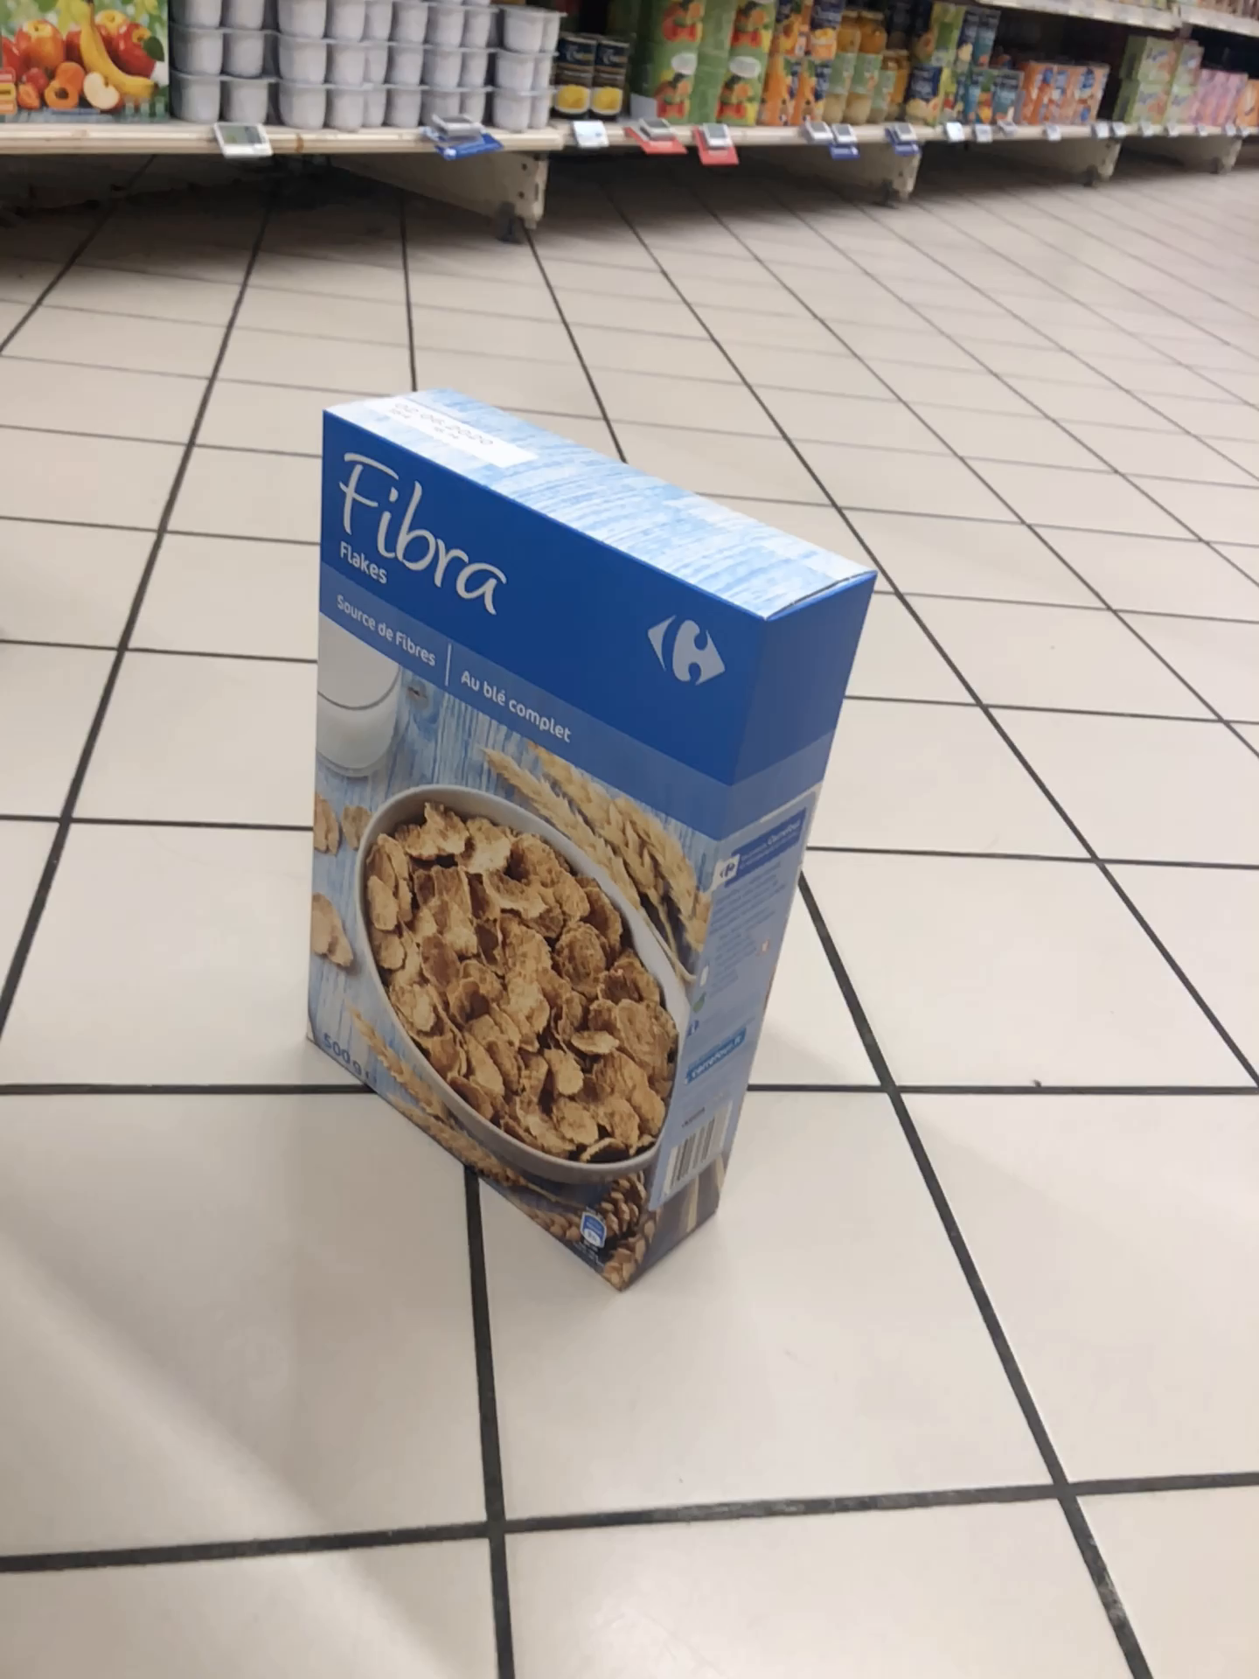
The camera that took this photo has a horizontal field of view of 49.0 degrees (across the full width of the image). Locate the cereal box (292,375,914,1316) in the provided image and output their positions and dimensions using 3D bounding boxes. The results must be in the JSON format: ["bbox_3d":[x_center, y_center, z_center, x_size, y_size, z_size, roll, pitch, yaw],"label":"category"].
[{"bbox_3d":[-0.033,0.003,0.520,0.200,0.288,0.070,31,38,29],"label":"cereal box"}]
